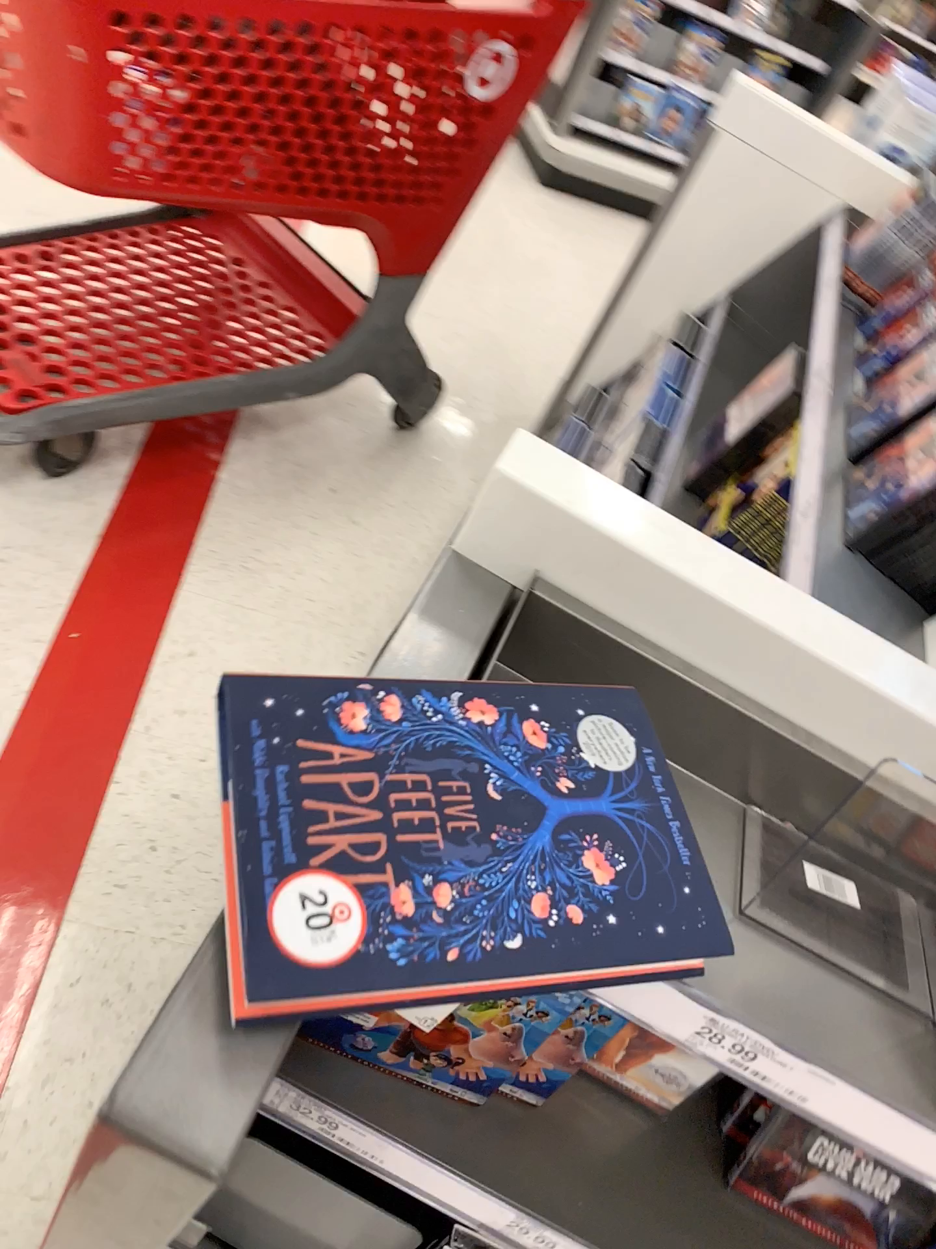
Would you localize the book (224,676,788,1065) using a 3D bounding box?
[{"bbox_3d":[0.013,0.094,0.414,0.220,0.028,0.151,3,48,-23],"label":"book"}]
